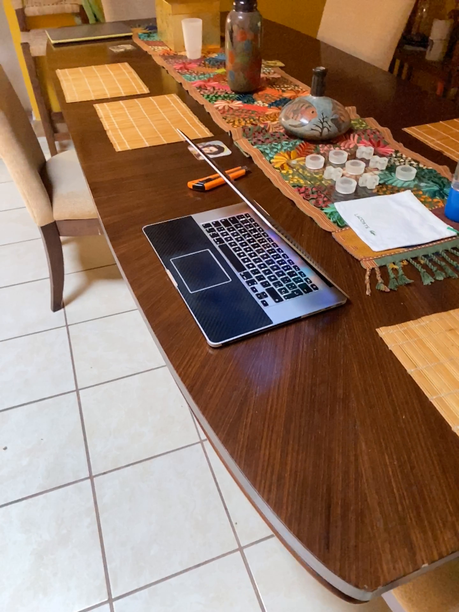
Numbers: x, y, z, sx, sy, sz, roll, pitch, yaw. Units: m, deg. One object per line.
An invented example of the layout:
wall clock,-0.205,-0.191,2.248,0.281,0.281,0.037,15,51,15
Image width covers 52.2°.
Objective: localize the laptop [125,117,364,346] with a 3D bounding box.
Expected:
laptop,0.002,-0.149,0.785,0.236,0.181,0.356,-17,44,-18
